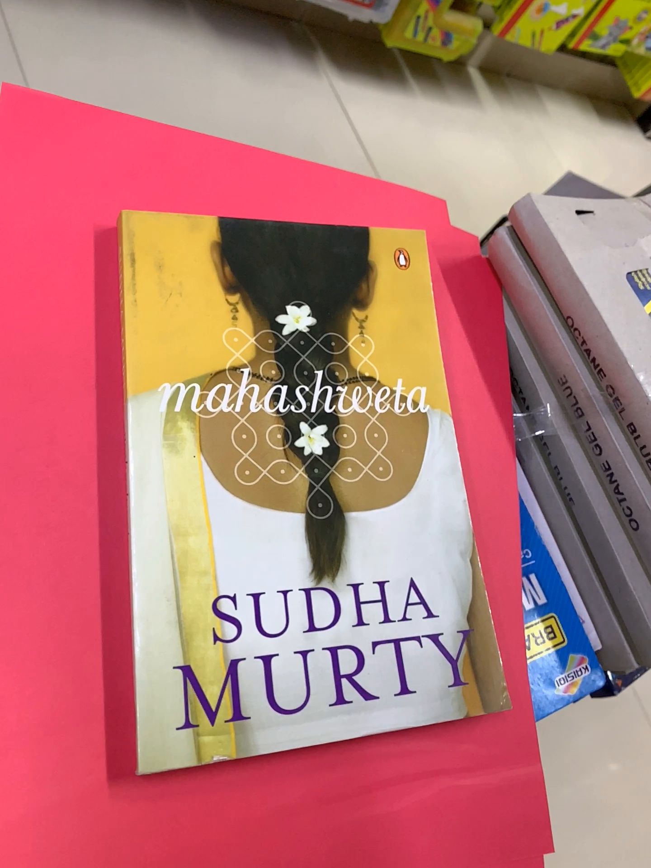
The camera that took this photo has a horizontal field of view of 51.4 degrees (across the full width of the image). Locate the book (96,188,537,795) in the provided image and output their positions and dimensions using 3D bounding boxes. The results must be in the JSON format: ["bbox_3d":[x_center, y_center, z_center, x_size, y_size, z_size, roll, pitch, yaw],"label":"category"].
[{"bbox_3d":[-0.009,0.007,0.248,0.140,0.020,0.201,-1,72,-18],"label":"book"}]
